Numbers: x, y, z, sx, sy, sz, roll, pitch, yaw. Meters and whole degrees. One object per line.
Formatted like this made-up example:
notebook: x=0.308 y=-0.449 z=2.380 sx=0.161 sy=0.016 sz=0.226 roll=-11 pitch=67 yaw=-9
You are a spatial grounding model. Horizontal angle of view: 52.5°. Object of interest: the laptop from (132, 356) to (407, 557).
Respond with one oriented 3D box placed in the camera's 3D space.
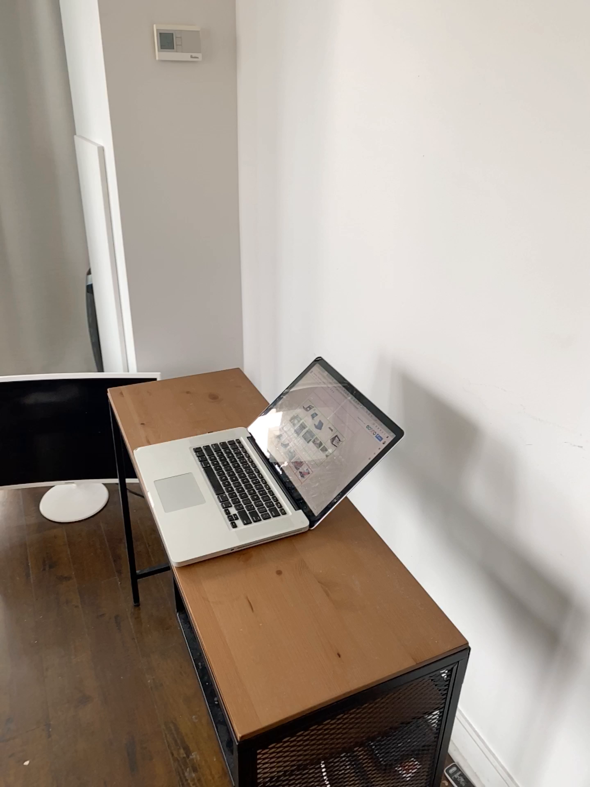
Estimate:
laptop: x=-0.066 y=0.095 z=1.210 sx=0.435 sy=0.155 sz=0.361 roll=-10 pitch=29 yaw=-22
